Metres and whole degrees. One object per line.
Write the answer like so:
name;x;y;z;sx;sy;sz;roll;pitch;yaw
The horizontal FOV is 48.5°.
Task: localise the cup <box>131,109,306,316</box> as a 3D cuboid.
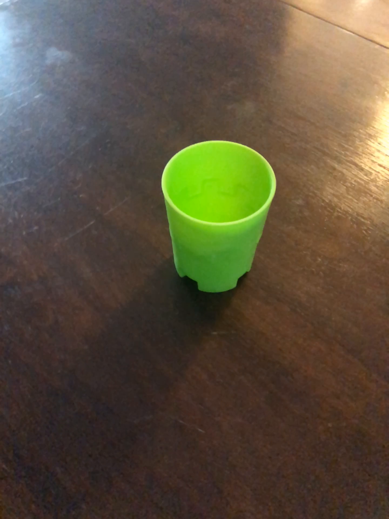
cup;0.012;-0.028;0.277;0.070;0.090;0.070;0;56;0
